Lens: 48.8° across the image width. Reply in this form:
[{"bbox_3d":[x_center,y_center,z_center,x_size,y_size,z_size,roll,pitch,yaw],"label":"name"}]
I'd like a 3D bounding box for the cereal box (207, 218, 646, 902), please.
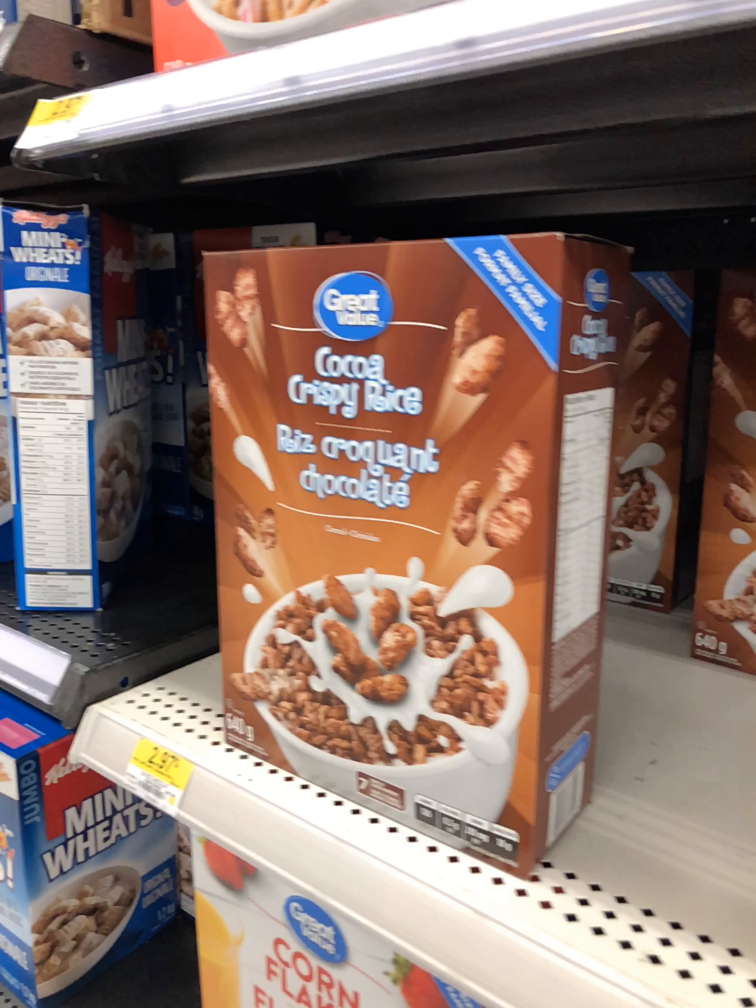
[{"bbox_3d":[0.015,0.015,0.446,0.210,0.299,0.080,9,15,37],"label":"cereal box"}]
